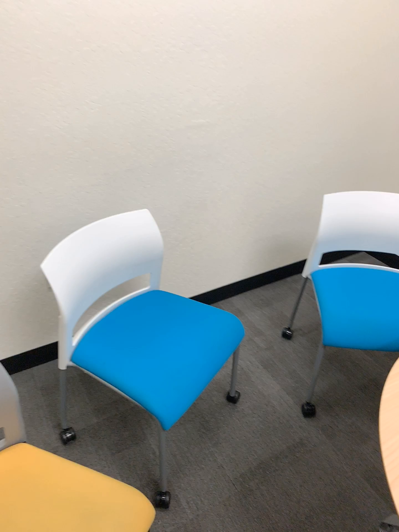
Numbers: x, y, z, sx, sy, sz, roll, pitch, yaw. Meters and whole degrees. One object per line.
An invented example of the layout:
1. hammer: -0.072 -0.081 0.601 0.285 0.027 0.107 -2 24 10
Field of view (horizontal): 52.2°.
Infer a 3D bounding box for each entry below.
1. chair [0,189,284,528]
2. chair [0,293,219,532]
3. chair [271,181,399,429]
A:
1. chair: -0.199 0.260 1.474 0.692 0.755 0.642 21 38 28
2. chair: -0.419 0.616 0.896 0.692 0.716 0.642 16 36 21
3. chair: 0.765 0.141 1.754 0.750 0.765 0.694 2 33 1
